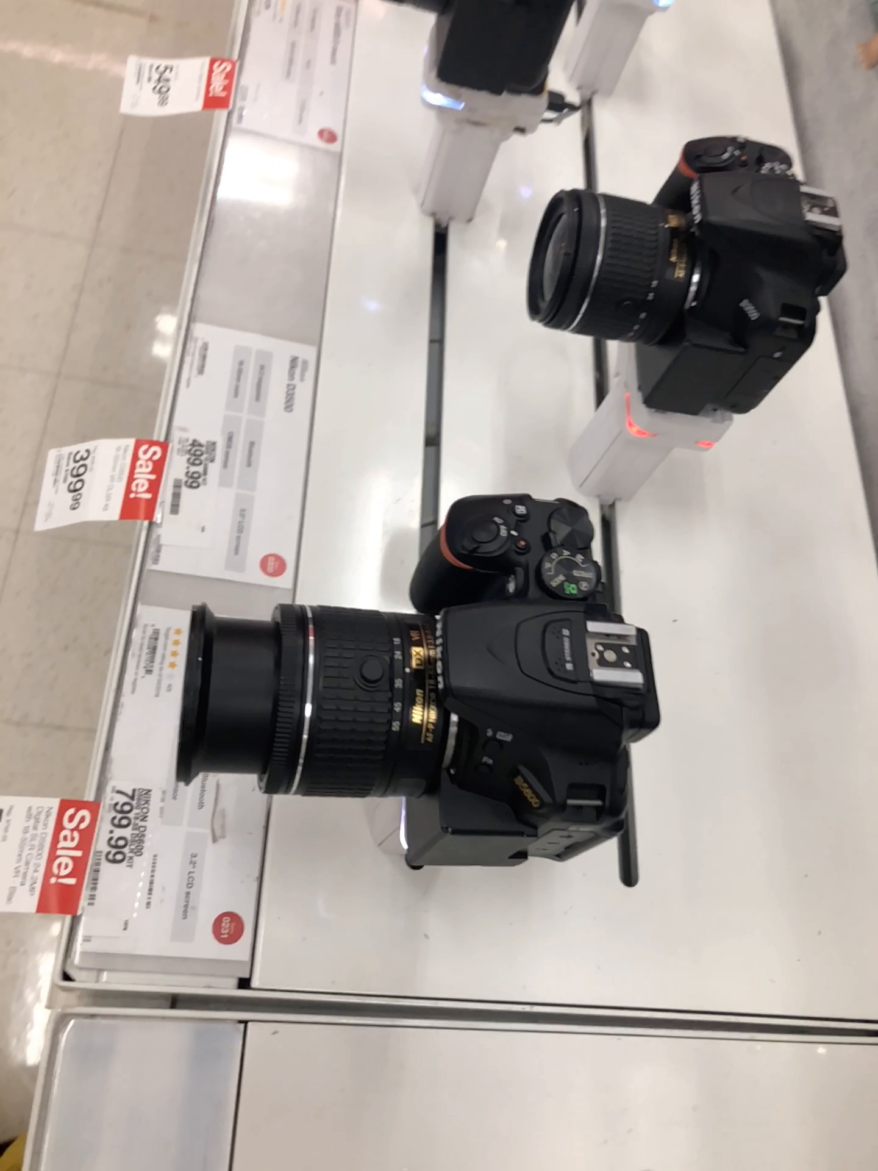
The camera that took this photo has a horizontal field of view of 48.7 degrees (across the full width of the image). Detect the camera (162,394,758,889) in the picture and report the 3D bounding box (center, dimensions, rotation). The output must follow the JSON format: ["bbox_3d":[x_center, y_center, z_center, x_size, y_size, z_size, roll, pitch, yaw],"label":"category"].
[{"bbox_3d":[0.002,0.026,0.336,0.170,0.090,0.130,7,63,-12],"label":"camera"}]
